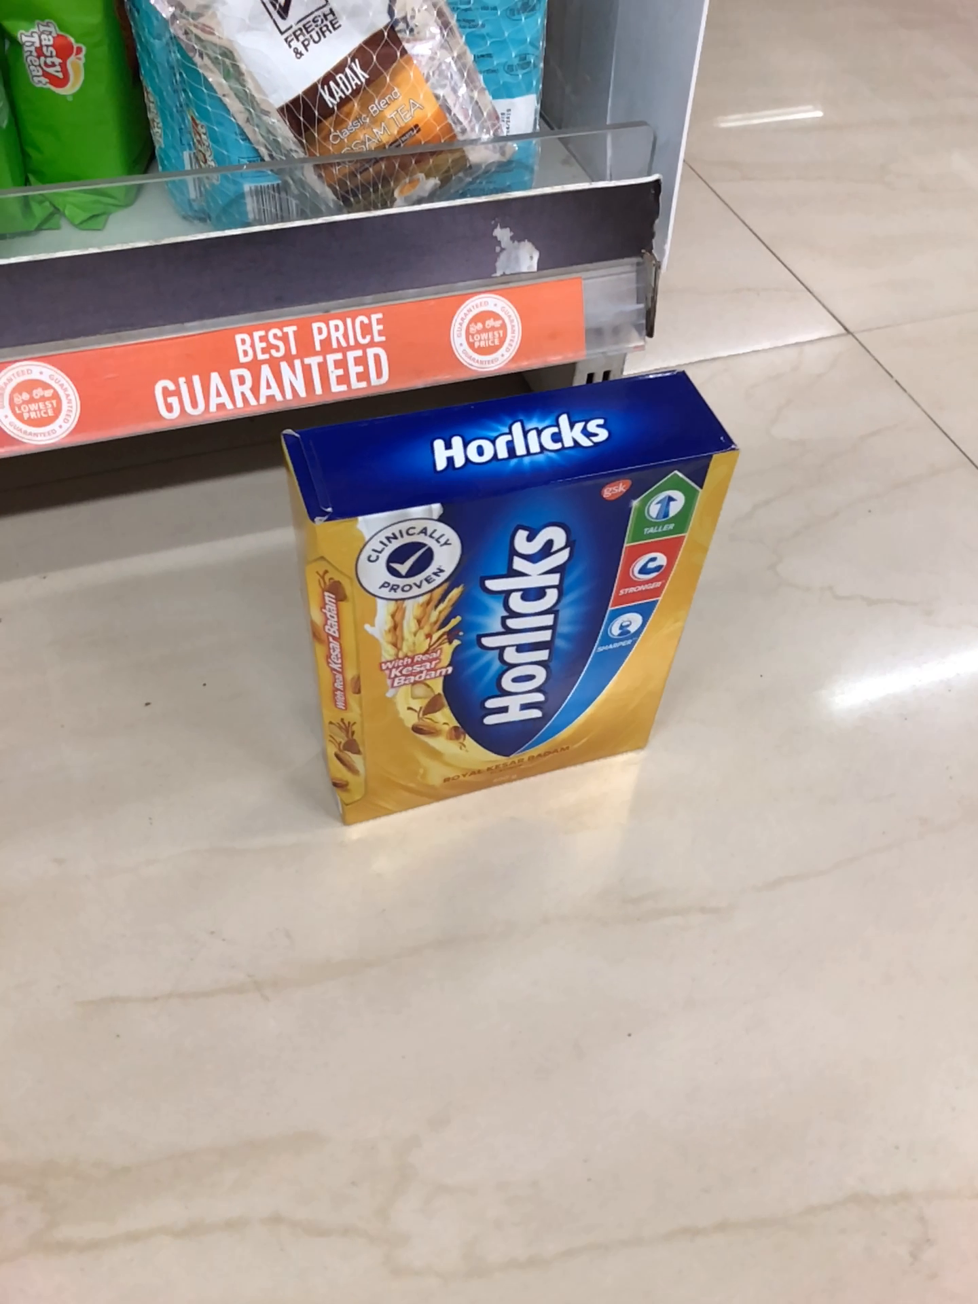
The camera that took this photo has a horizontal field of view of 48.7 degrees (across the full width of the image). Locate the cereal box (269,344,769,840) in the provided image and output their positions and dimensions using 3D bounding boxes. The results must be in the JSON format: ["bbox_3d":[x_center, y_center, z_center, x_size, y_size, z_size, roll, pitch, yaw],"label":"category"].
[{"bbox_3d":[0.006,-0.015,0.410,0.150,0.179,0.050,-13,52,-14],"label":"cereal box"}]
